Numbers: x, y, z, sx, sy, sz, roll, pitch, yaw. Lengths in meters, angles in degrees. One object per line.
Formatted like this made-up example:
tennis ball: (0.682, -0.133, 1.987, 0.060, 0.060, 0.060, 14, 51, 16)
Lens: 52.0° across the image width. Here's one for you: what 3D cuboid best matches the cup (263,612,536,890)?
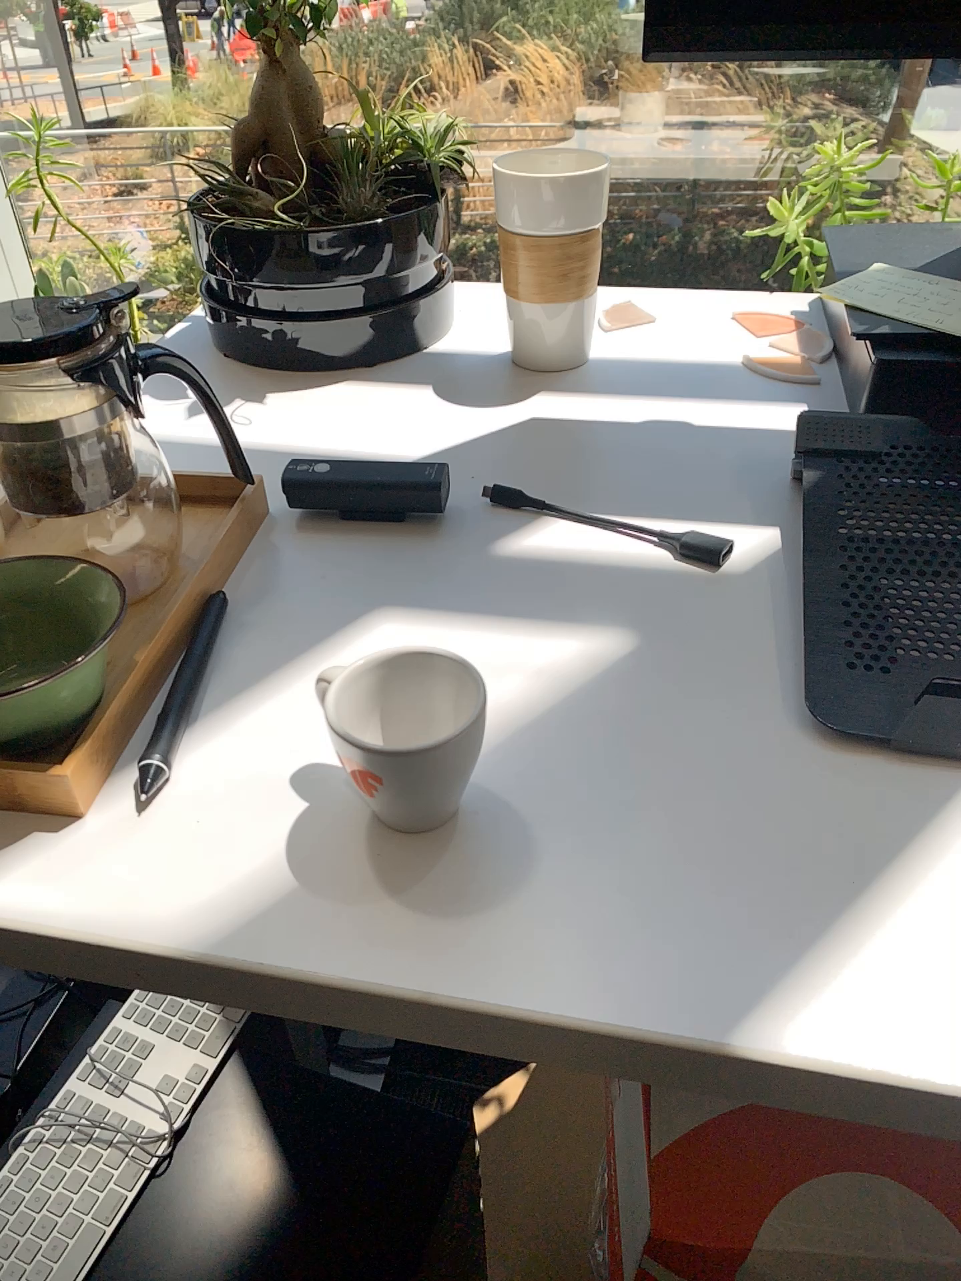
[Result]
cup: (-0.031, 0.042, 0.405, 0.090, 0.060, 0.060, 23, 44, 30)
